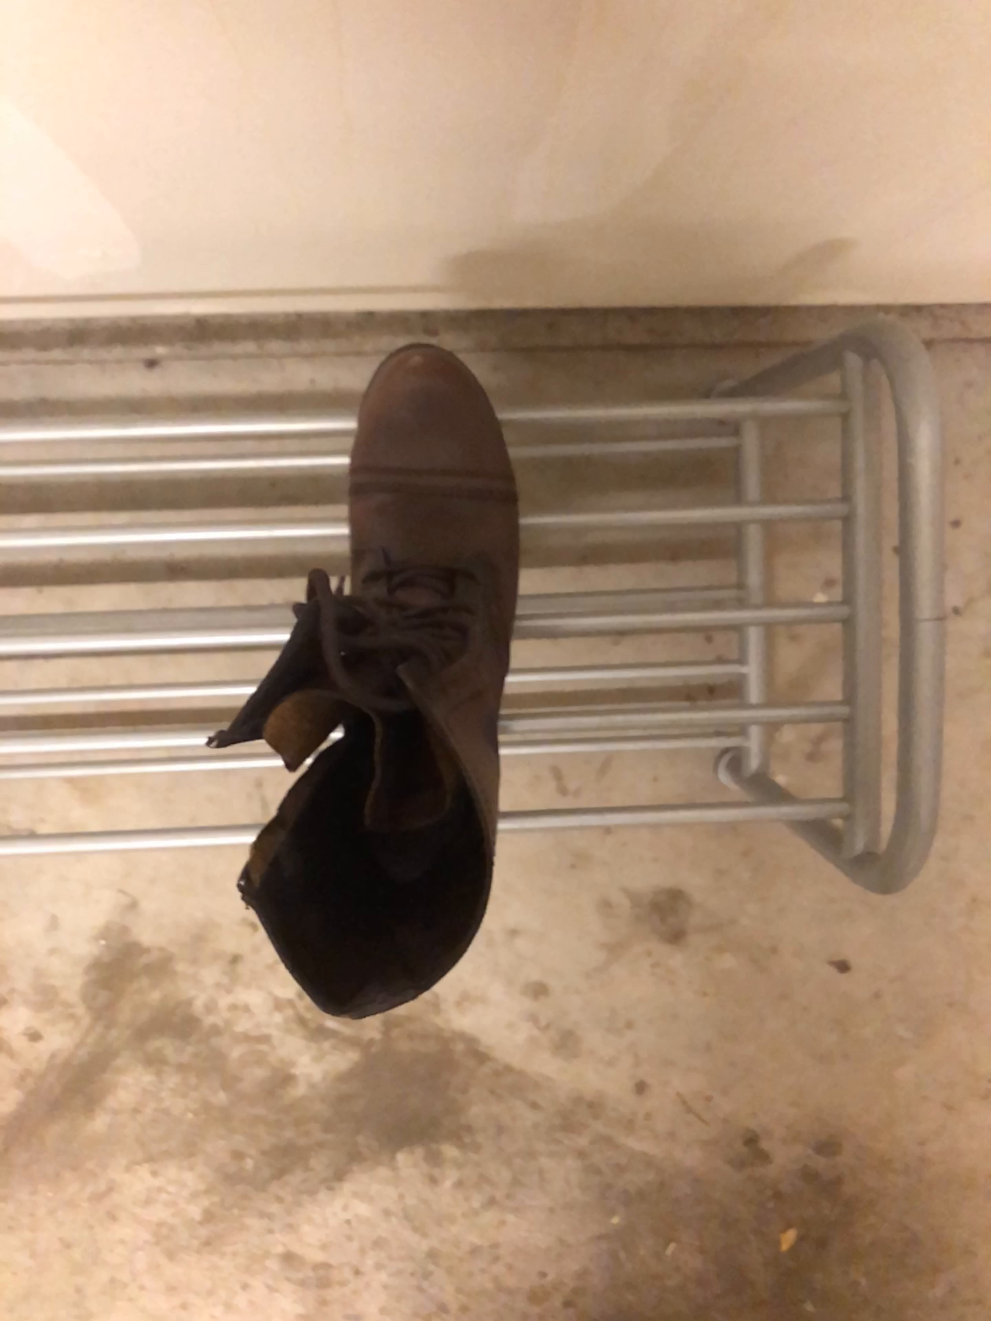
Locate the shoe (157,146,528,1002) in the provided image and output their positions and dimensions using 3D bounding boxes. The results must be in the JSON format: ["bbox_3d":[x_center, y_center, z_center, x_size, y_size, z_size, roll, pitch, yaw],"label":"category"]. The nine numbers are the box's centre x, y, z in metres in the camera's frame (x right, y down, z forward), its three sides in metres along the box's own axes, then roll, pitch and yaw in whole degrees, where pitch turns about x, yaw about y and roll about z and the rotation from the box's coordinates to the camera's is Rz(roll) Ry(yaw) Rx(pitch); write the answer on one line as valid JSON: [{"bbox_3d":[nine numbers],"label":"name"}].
[{"bbox_3d":[-0.052,-0.036,0.494,0.121,0.239,0.287,2,96,1],"label":"shoe"}]
